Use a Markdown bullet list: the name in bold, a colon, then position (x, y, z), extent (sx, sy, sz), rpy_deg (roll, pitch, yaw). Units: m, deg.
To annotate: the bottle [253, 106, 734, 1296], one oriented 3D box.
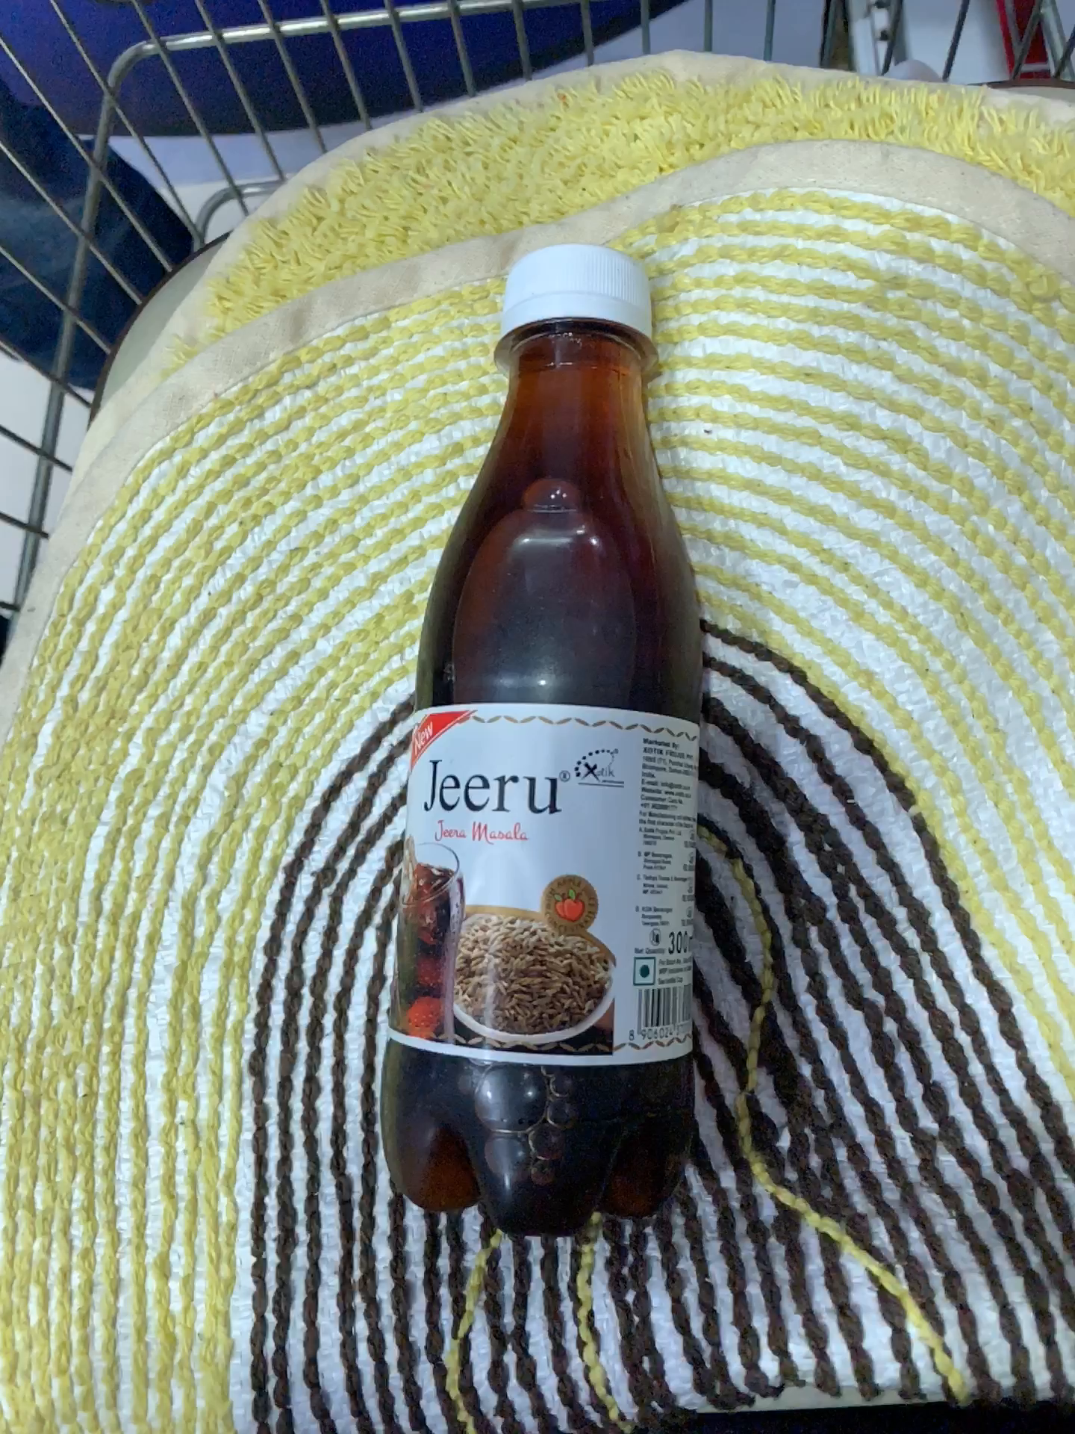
- **bottle**: position (-0.002, -0.005, 0.205), extent (0.060, 0.060, 0.180), rpy_deg (1, 83, 19)
